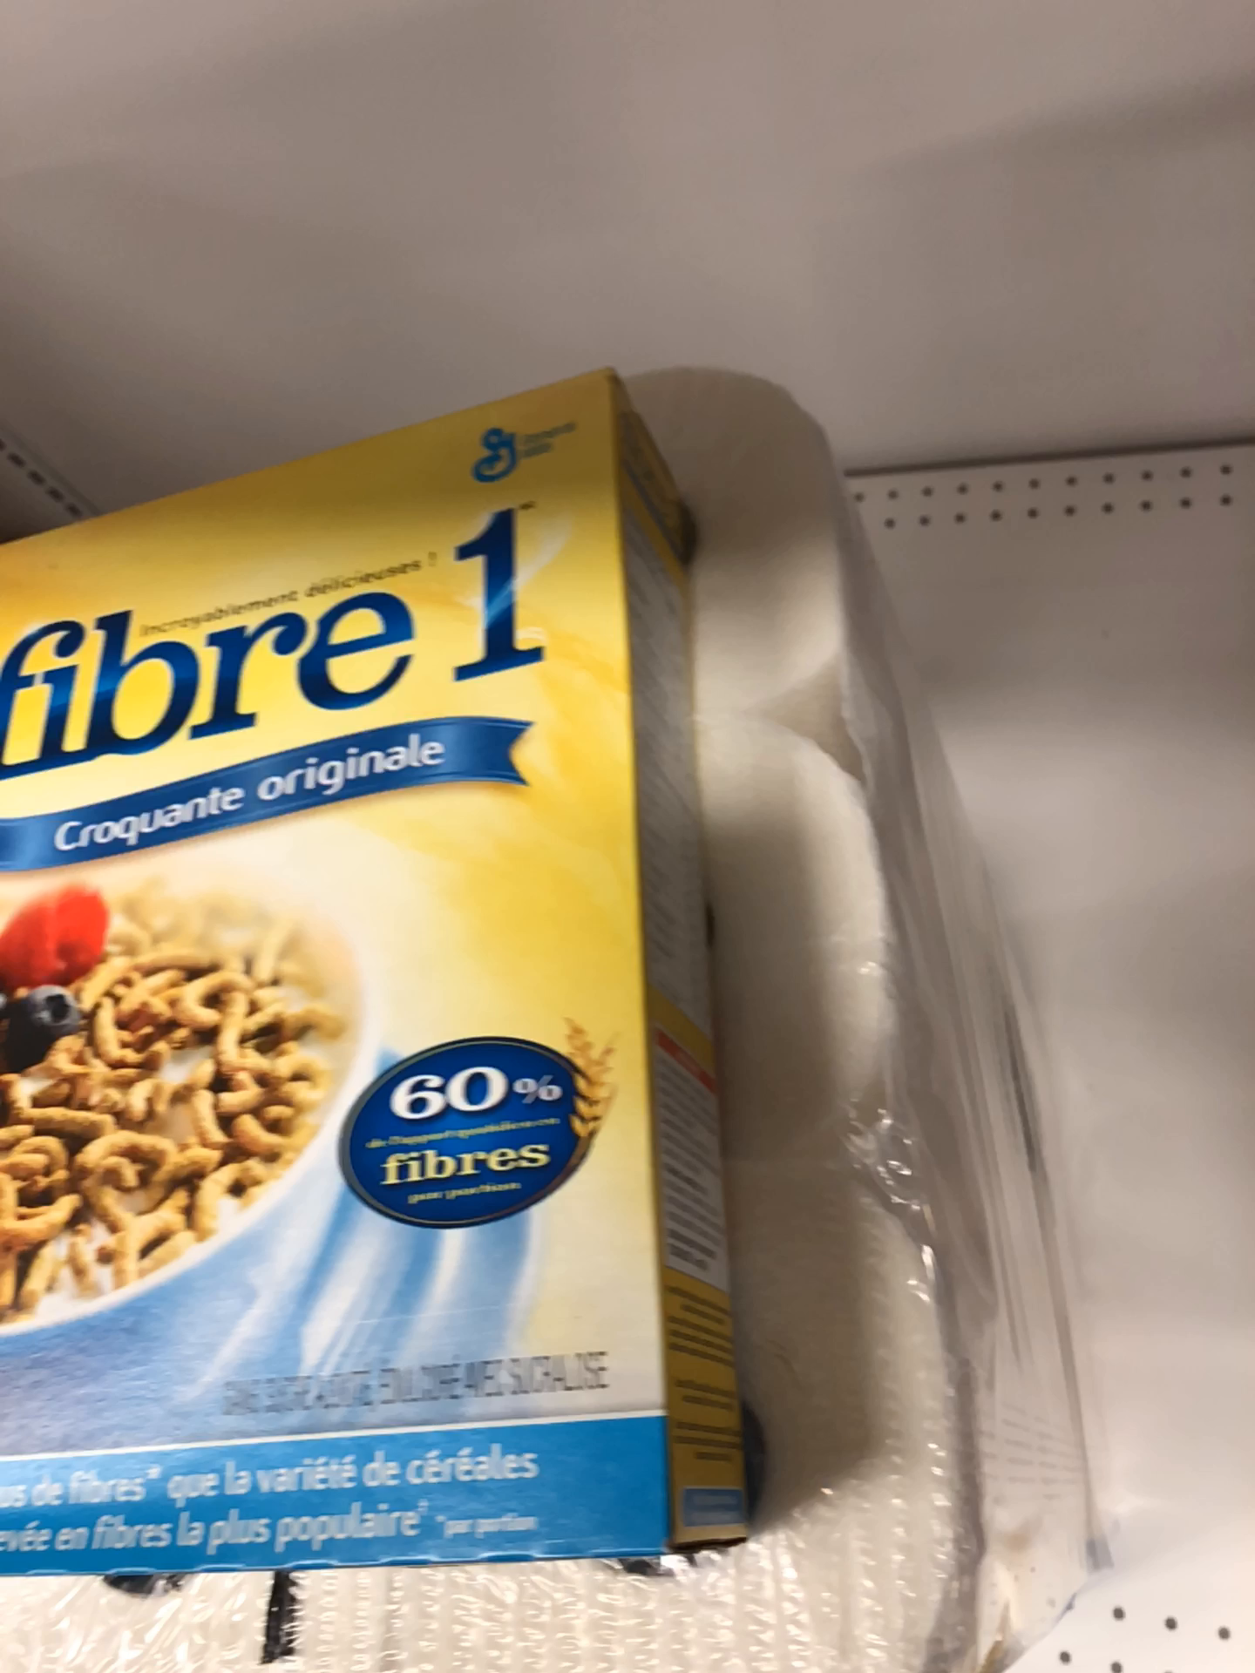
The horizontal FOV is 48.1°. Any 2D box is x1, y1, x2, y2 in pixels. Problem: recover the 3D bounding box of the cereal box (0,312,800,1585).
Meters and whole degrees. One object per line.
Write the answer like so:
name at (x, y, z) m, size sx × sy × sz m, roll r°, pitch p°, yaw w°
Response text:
cereal box at (-0.076, 0.025, 0.331) m, size 0.200 × 0.060 × 0.260 m, roll -11°, pitch 66°, yaw 17°
